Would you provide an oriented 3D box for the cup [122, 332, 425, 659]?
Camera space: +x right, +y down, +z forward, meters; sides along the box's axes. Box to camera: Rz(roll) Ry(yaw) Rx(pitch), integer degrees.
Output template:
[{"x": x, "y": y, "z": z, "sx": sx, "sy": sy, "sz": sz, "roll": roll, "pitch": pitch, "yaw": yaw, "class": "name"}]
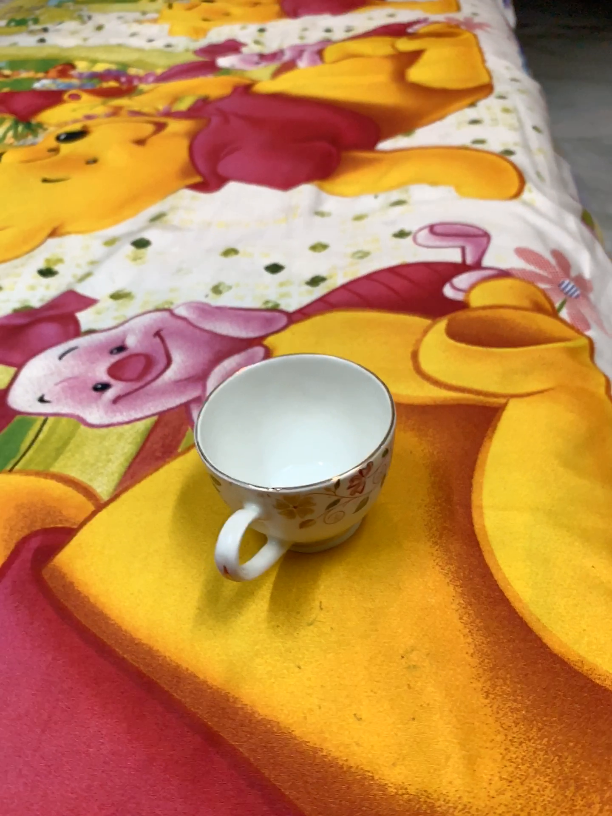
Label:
[{"x": -0.004, "y": 0.028, "z": 0.258, "sx": 0.080, "sy": 0.059, "sz": 0.101, "roll": 11, "pitch": 46, "yaw": 20, "class": "cup"}]
